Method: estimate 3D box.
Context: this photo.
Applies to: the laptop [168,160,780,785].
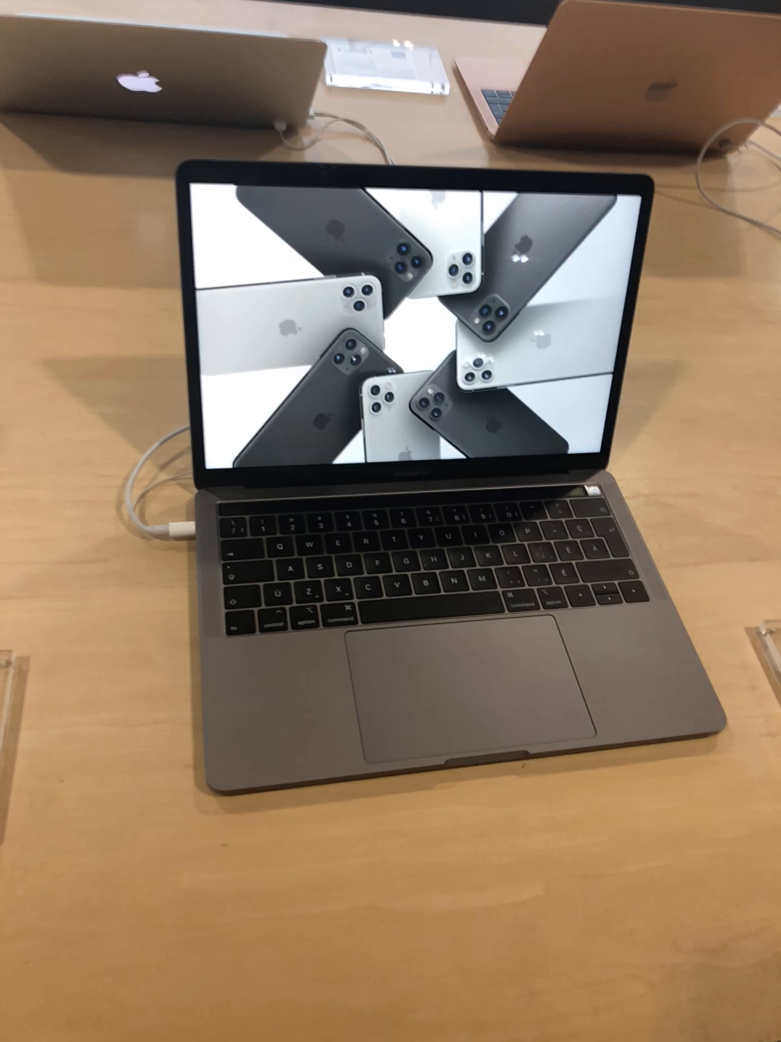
[{"bbox_3d":[0.035,-0.041,0.495,0.296,0.181,0.296,-3,50,-13],"label":"laptop"}]
